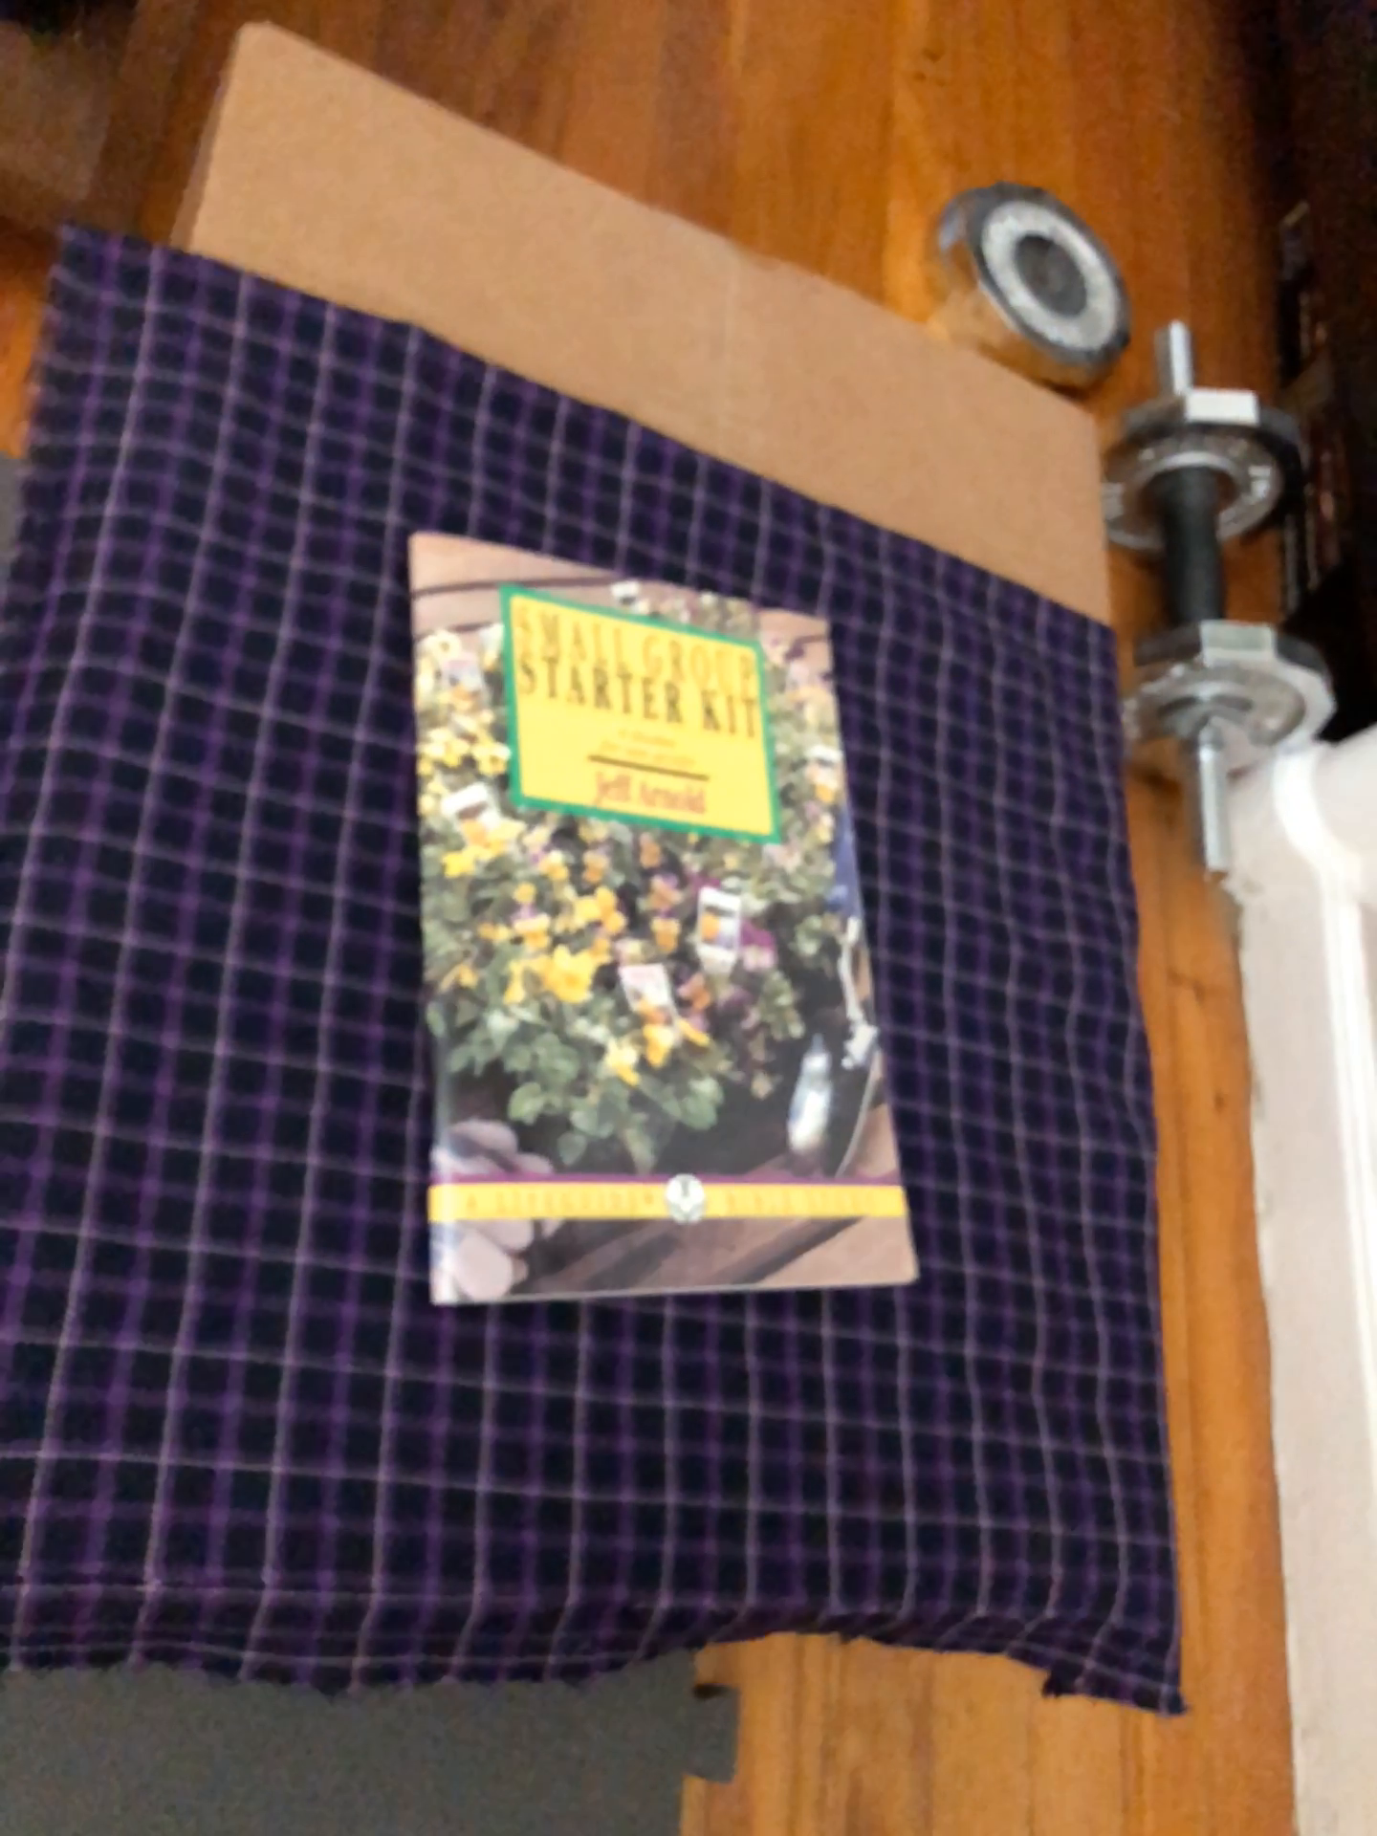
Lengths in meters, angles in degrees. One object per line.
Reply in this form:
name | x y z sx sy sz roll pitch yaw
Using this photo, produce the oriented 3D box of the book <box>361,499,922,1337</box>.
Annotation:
book | -0.014 -0.002 0.423 0.150 0.010 0.220 6 68 -29
